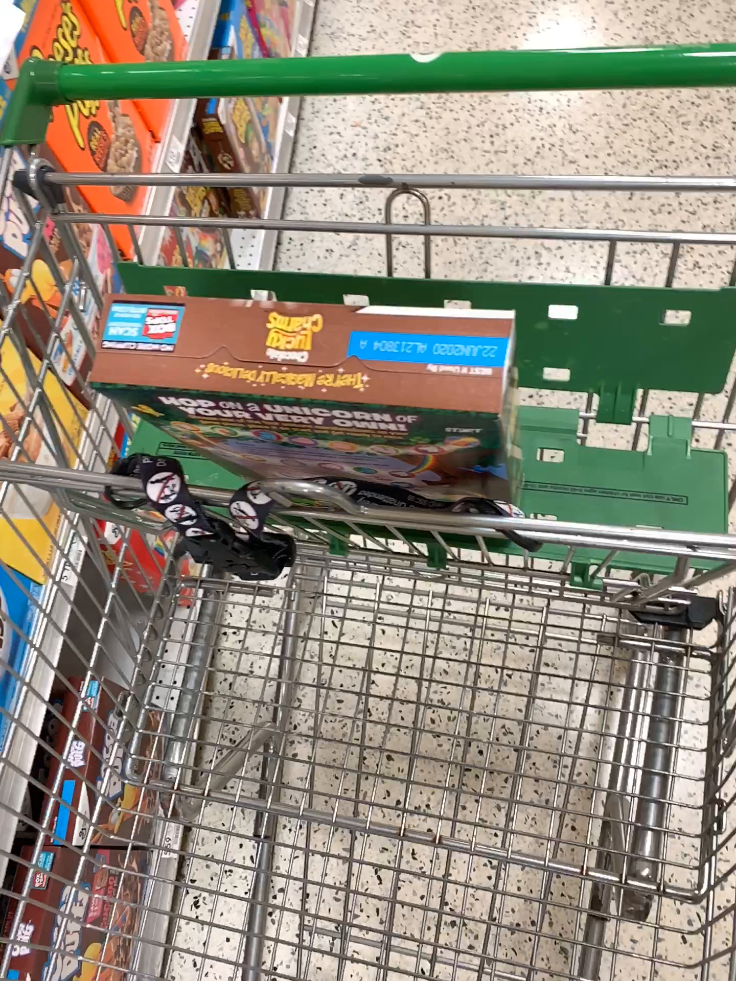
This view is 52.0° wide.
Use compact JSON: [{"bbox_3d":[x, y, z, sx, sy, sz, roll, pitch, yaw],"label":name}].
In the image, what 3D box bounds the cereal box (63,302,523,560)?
[{"bbox_3d":[-0.009,-0.018,0.470,0.200,0.299,0.050,5,76,14],"label":"cereal box"}]
